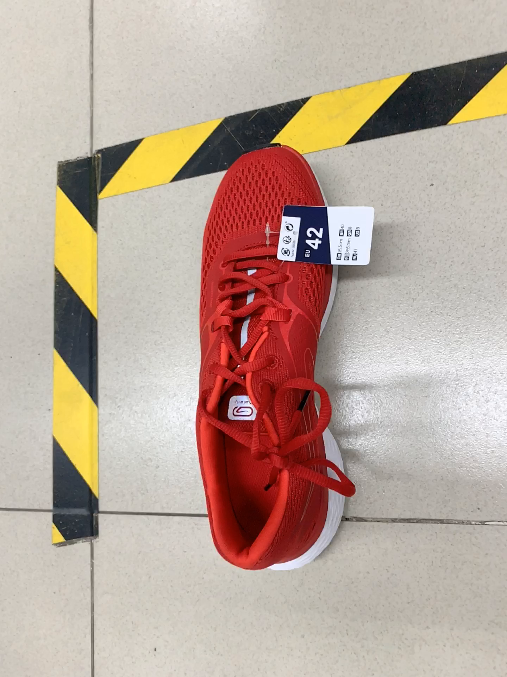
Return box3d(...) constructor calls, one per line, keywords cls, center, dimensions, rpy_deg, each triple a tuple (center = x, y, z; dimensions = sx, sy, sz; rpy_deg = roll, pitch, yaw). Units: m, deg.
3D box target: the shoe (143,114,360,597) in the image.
box3d(cls="shoe", center=(0.000, 0.011, 0.363), dimensions=(0.120, 0.090, 0.280), rpy_deg=(-4, 82, 18))
